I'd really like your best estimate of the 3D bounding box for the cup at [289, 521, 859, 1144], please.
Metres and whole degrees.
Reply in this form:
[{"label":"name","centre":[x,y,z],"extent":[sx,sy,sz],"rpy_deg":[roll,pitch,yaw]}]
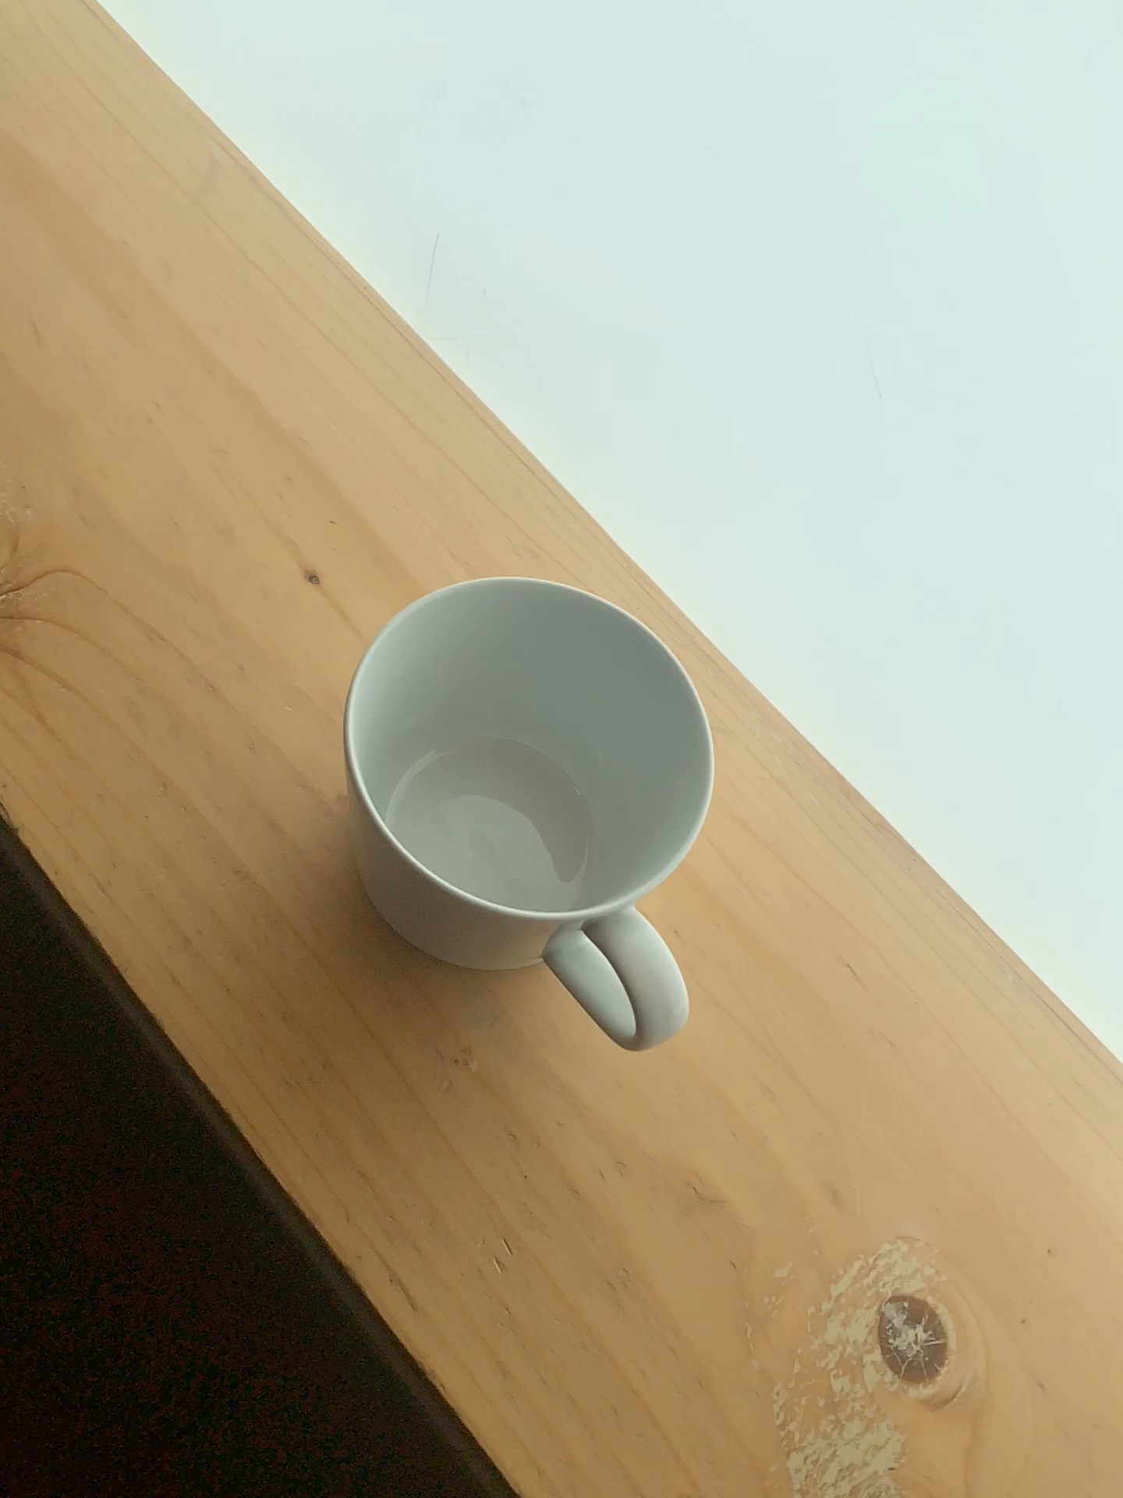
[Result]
[{"label":"cup","centre":[-0.005,0.024,0.326],"extent":[0.090,0.080,0.130],"rpy_deg":[-28,73,-24]}]
